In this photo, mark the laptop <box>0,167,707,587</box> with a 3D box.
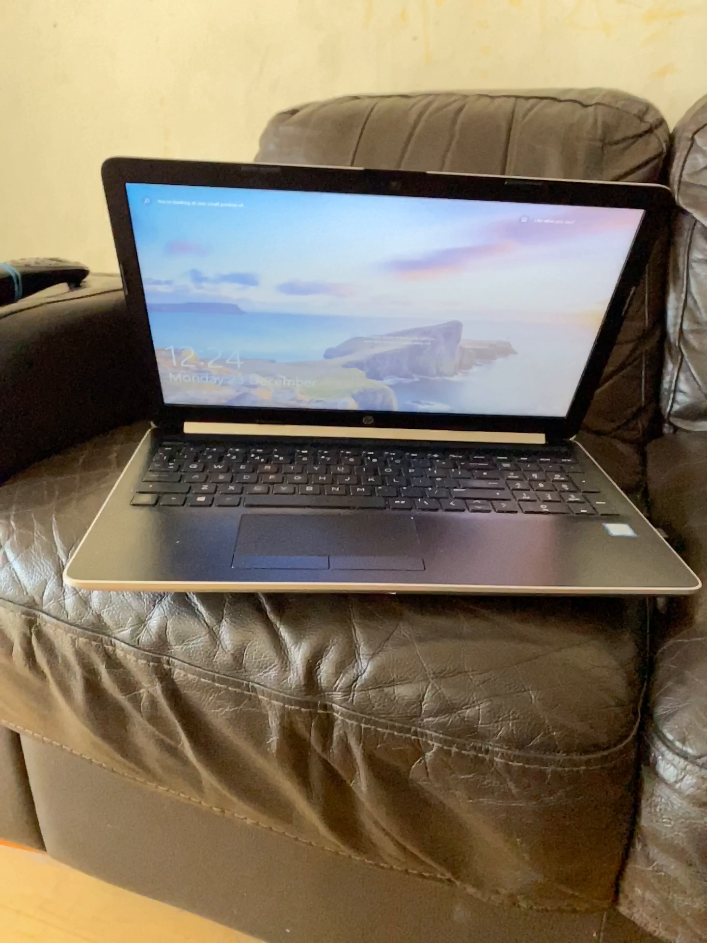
[{"bbox_3d":[0.016,-0.082,0.493,0.371,0.212,0.238,1,23,-3],"label":"laptop"}]
